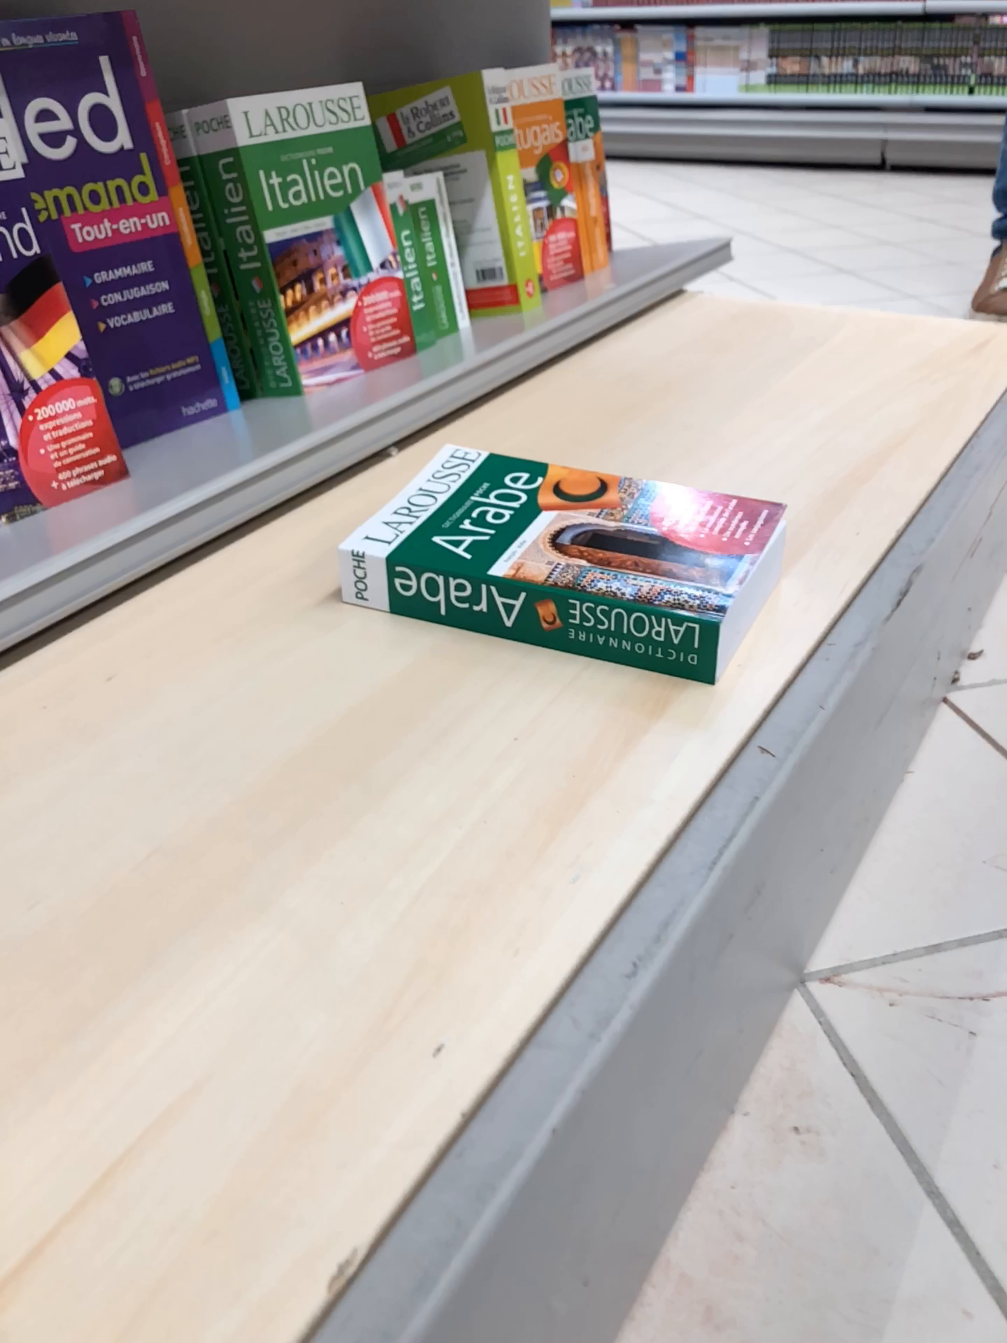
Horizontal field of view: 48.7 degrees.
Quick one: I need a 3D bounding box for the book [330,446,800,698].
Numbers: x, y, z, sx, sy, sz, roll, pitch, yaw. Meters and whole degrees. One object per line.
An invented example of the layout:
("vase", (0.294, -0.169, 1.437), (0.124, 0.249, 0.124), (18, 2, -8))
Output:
("book", (0.029, -0.053, 0.512), (0.182, 0.045, 0.112), (13, 33, 23))
